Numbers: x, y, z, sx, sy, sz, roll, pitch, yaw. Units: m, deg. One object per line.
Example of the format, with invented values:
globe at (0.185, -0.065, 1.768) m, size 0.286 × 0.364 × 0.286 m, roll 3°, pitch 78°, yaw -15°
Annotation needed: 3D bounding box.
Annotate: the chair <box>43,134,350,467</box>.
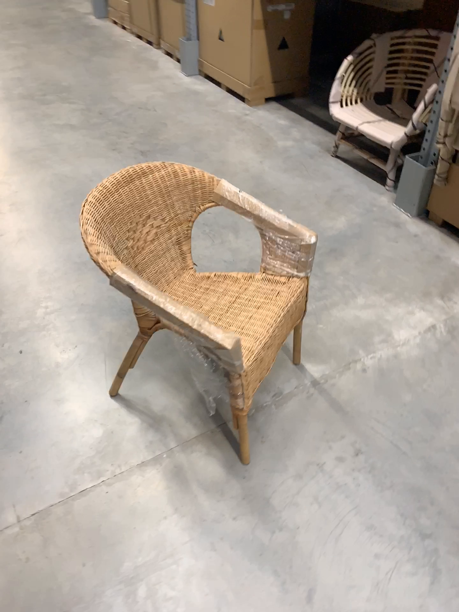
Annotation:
chair at (-0.067, -0.042, 1.579) m, size 0.651 × 0.757 × 0.602 m, roll 20°, pitch 46°, yaw 21°
